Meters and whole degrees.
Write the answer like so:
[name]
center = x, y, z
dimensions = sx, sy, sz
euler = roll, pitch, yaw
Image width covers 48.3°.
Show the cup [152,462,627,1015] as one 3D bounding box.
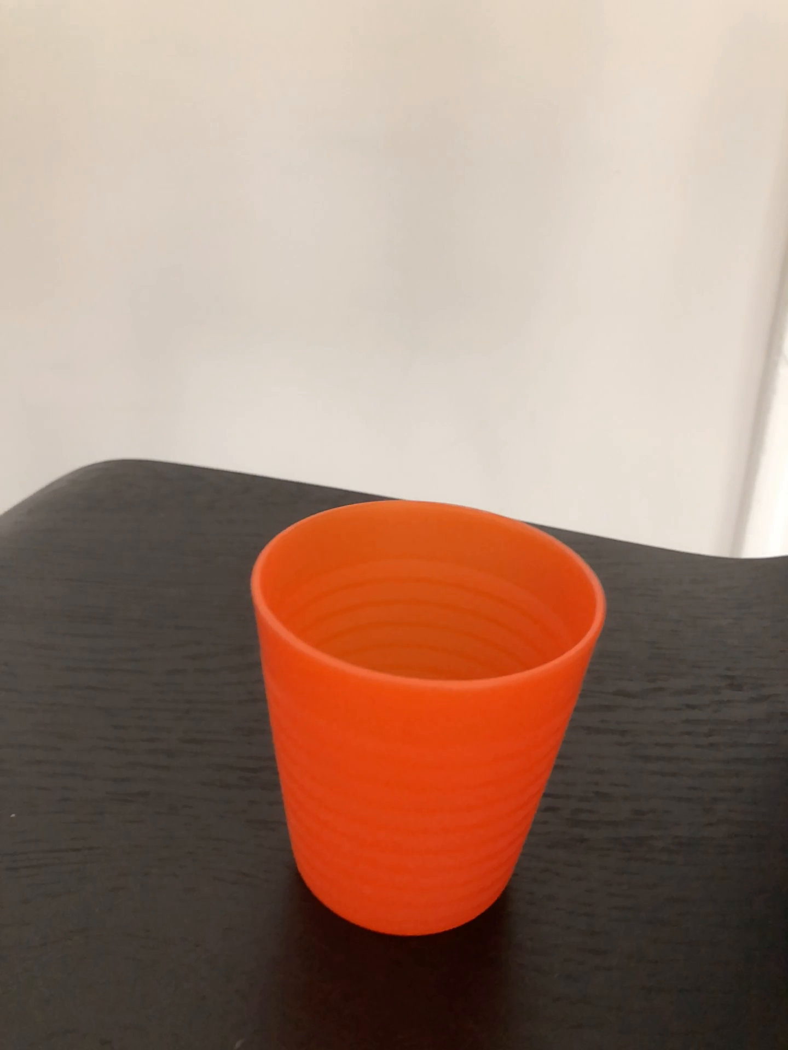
[cup]
center = 0.005, 0.042, 0.210
dimensions = 0.080, 0.080, 0.080
euler = -1, 27, 0
